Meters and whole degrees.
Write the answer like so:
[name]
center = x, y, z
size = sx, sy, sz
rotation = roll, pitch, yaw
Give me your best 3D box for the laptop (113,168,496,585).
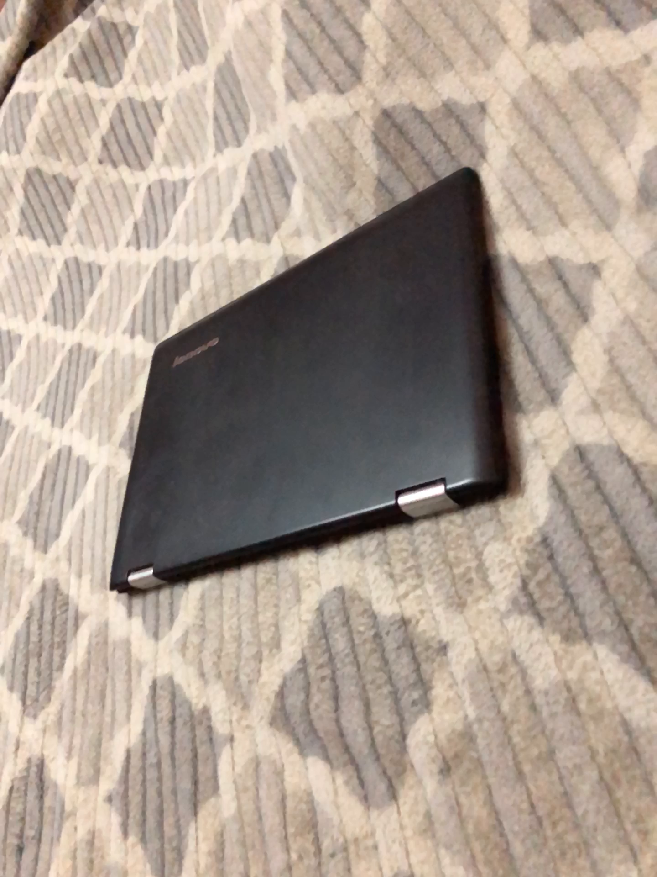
[laptop]
center = -0.038, -0.033, 0.539
size = 0.340, 0.005, 0.231
rotation = -20, 55, 35
